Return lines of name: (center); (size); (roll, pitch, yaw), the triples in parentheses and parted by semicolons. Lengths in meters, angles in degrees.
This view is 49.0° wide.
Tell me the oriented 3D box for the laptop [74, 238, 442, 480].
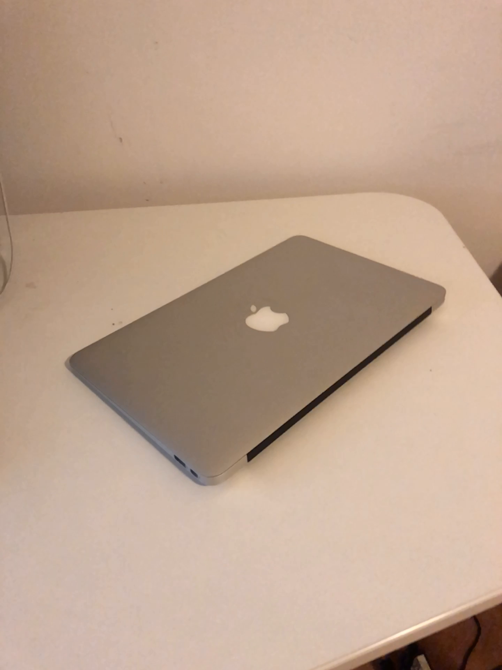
laptop: (0.015, -0.008, 0.490); (0.179, 0.004, 0.291); (29, 47, 36)
